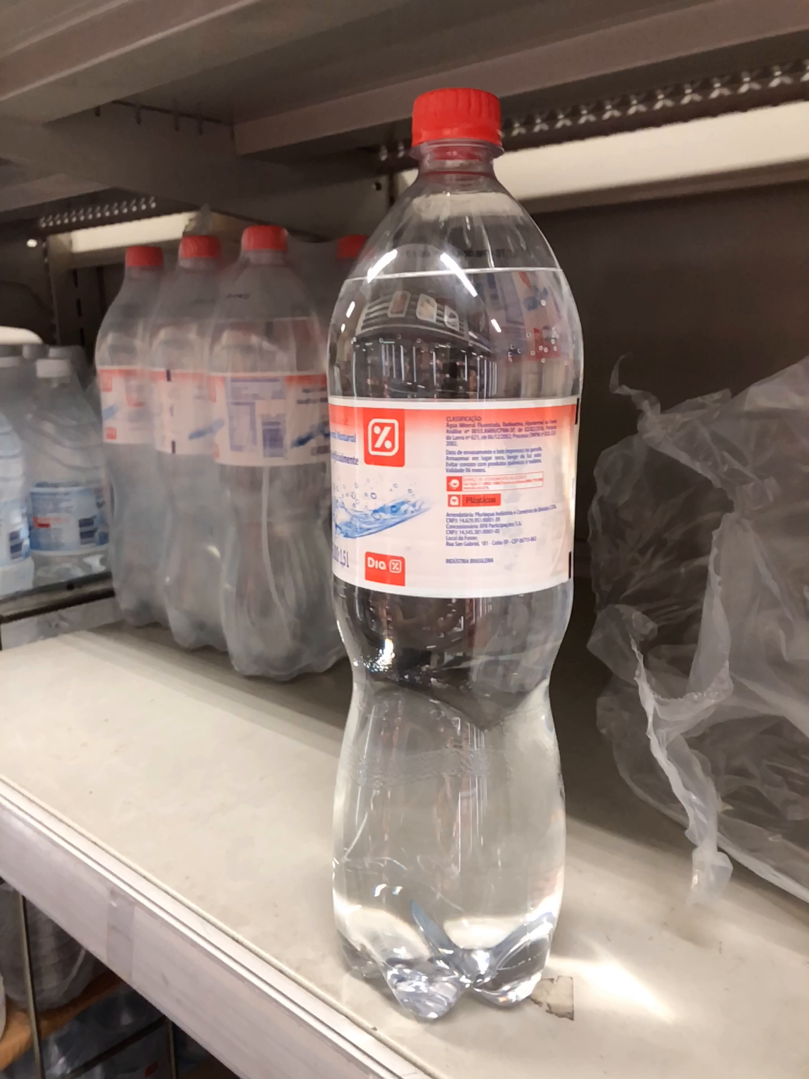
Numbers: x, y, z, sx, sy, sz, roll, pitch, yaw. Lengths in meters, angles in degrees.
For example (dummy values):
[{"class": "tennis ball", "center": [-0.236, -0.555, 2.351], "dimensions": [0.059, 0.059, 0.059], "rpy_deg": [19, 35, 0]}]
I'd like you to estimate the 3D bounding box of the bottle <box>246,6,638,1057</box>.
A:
[{"class": "bottle", "center": [0.013, 0.001, 0.328], "dimensions": [0.100, 0.319, 0.100], "rpy_deg": [-3, 12, 1]}]
